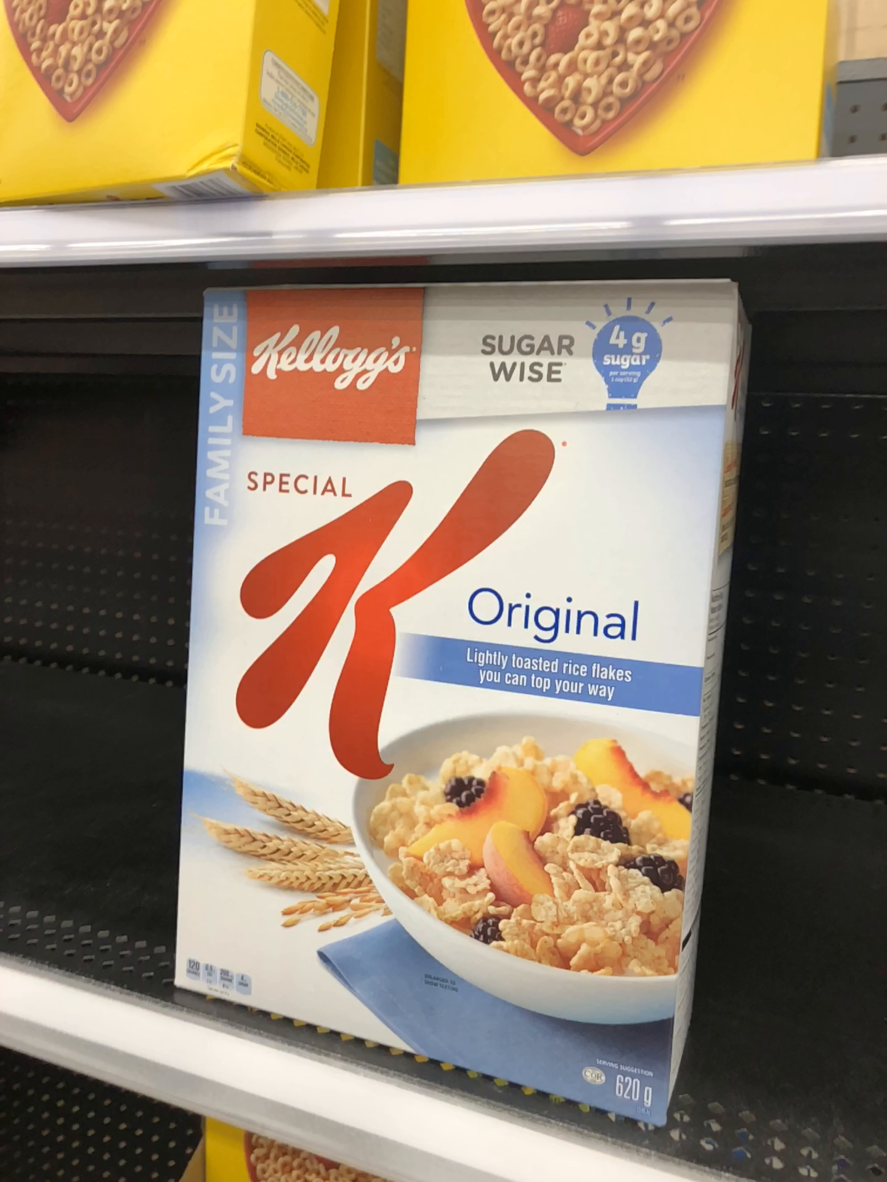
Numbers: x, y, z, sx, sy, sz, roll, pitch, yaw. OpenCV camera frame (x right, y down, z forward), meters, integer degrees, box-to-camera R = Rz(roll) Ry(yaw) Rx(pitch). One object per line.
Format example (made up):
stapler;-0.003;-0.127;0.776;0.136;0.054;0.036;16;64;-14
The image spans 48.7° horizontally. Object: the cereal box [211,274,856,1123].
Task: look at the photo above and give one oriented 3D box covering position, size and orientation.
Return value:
cereal box;0.032;0.032;0.453;0.260;0.329;0.080;5;6;19
